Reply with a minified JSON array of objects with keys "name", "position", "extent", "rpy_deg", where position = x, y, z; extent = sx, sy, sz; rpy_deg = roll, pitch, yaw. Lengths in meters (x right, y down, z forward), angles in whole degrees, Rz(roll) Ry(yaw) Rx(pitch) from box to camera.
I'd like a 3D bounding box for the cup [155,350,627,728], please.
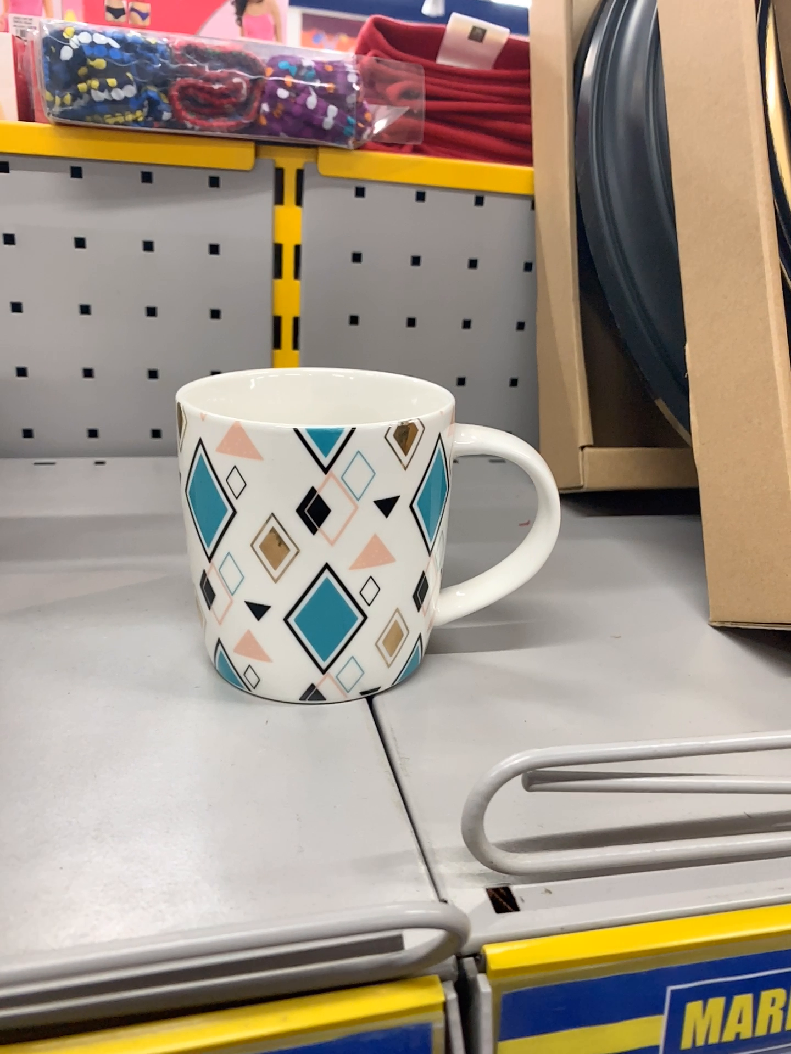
[{"name":"cup","position":[-0.007,-0.002,0.269],"extent":[0.120,0.090,0.100],"rpy_deg":[2,21,-7]}]
